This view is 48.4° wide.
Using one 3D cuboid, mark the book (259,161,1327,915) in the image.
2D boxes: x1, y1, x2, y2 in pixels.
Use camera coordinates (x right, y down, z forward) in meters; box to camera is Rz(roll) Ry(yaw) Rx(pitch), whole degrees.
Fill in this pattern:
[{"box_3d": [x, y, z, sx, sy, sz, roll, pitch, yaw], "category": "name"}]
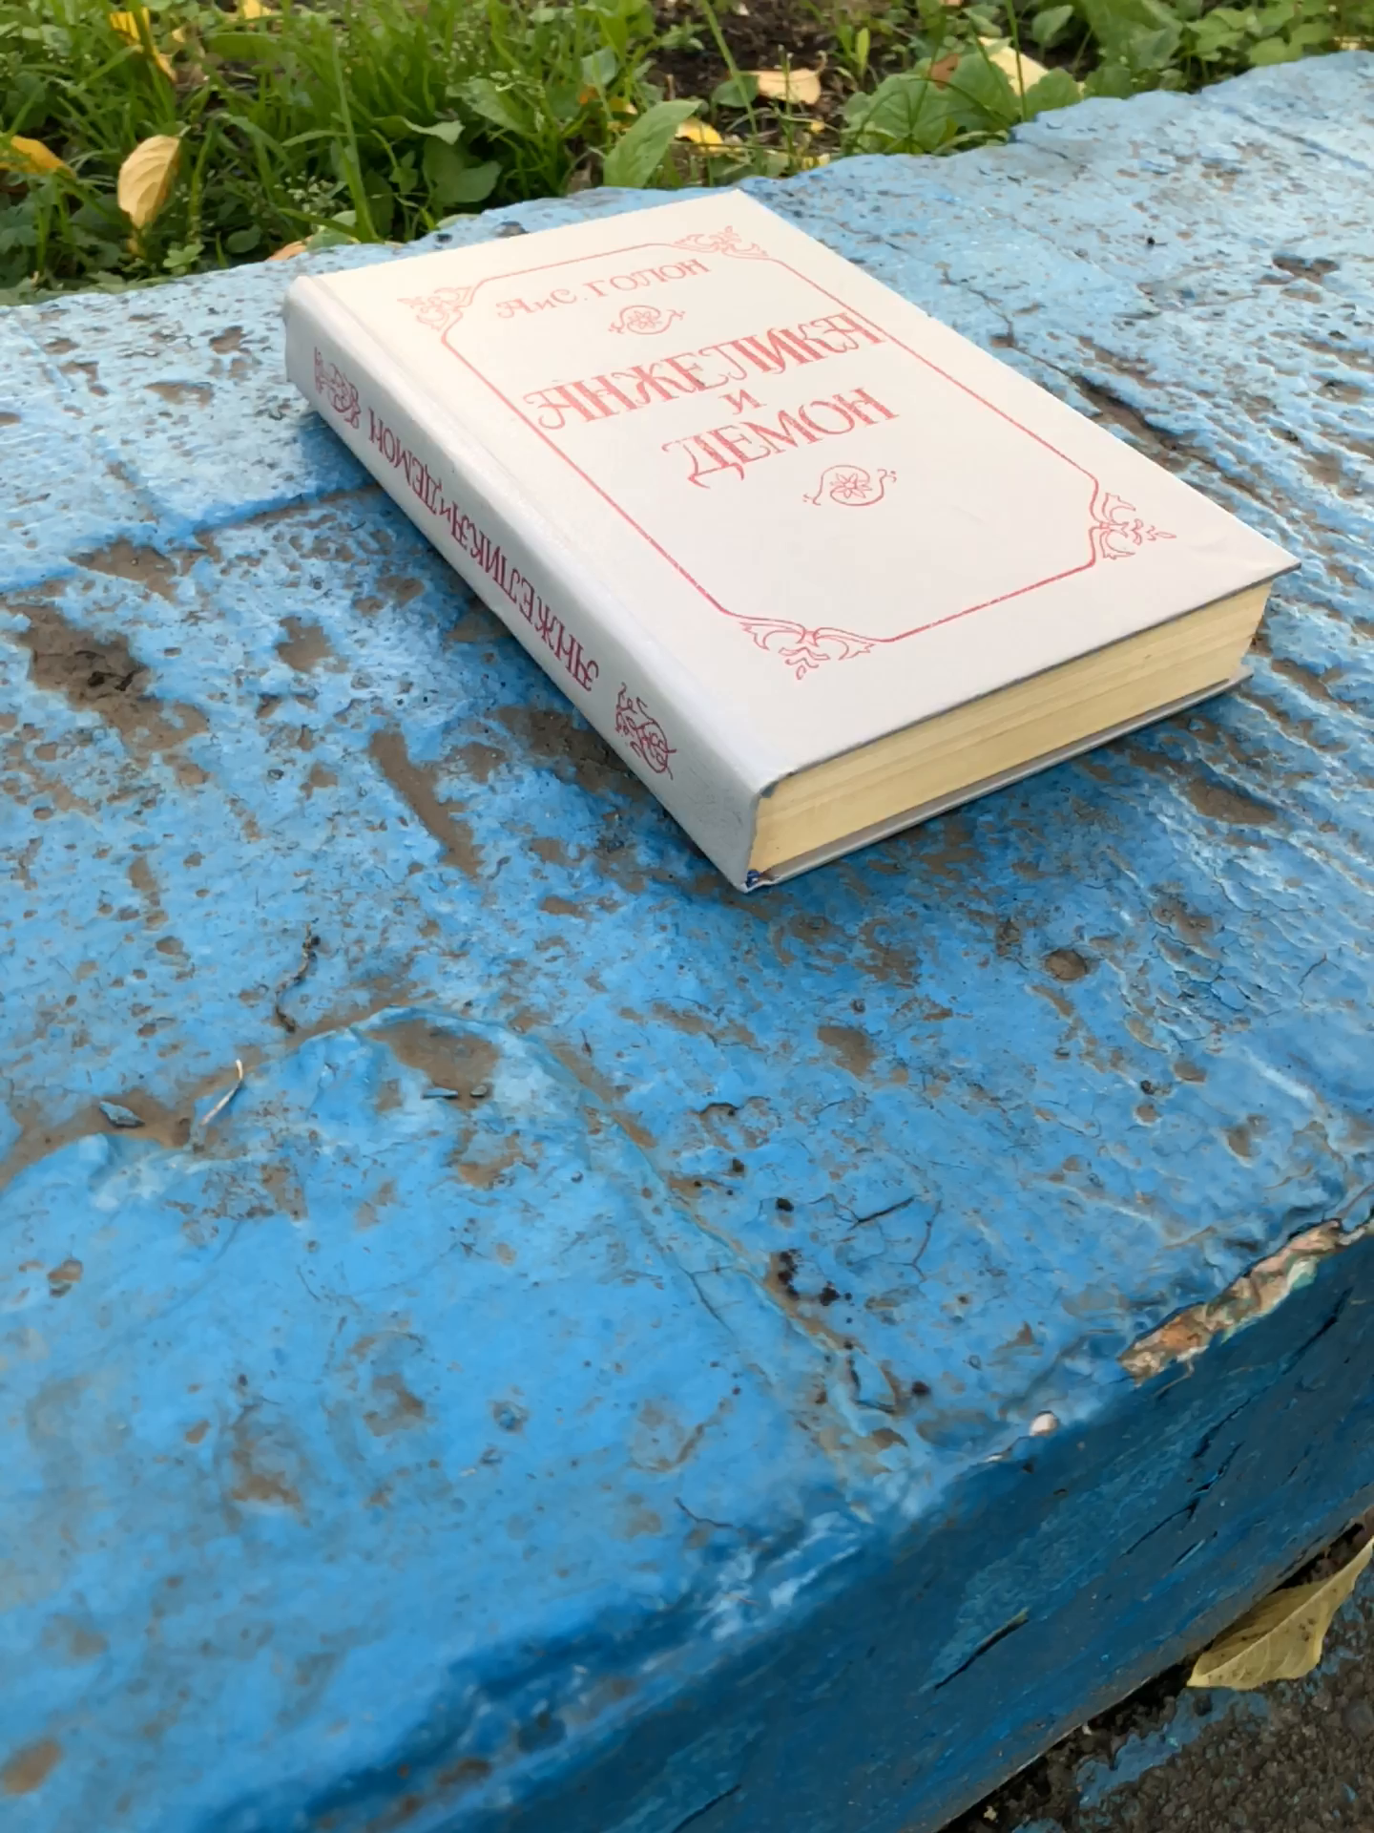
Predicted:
[{"box_3d": [0.012, -0.105, 0.349, 0.140, 0.032, 0.211, -24, 53, -24], "category": "book"}]
